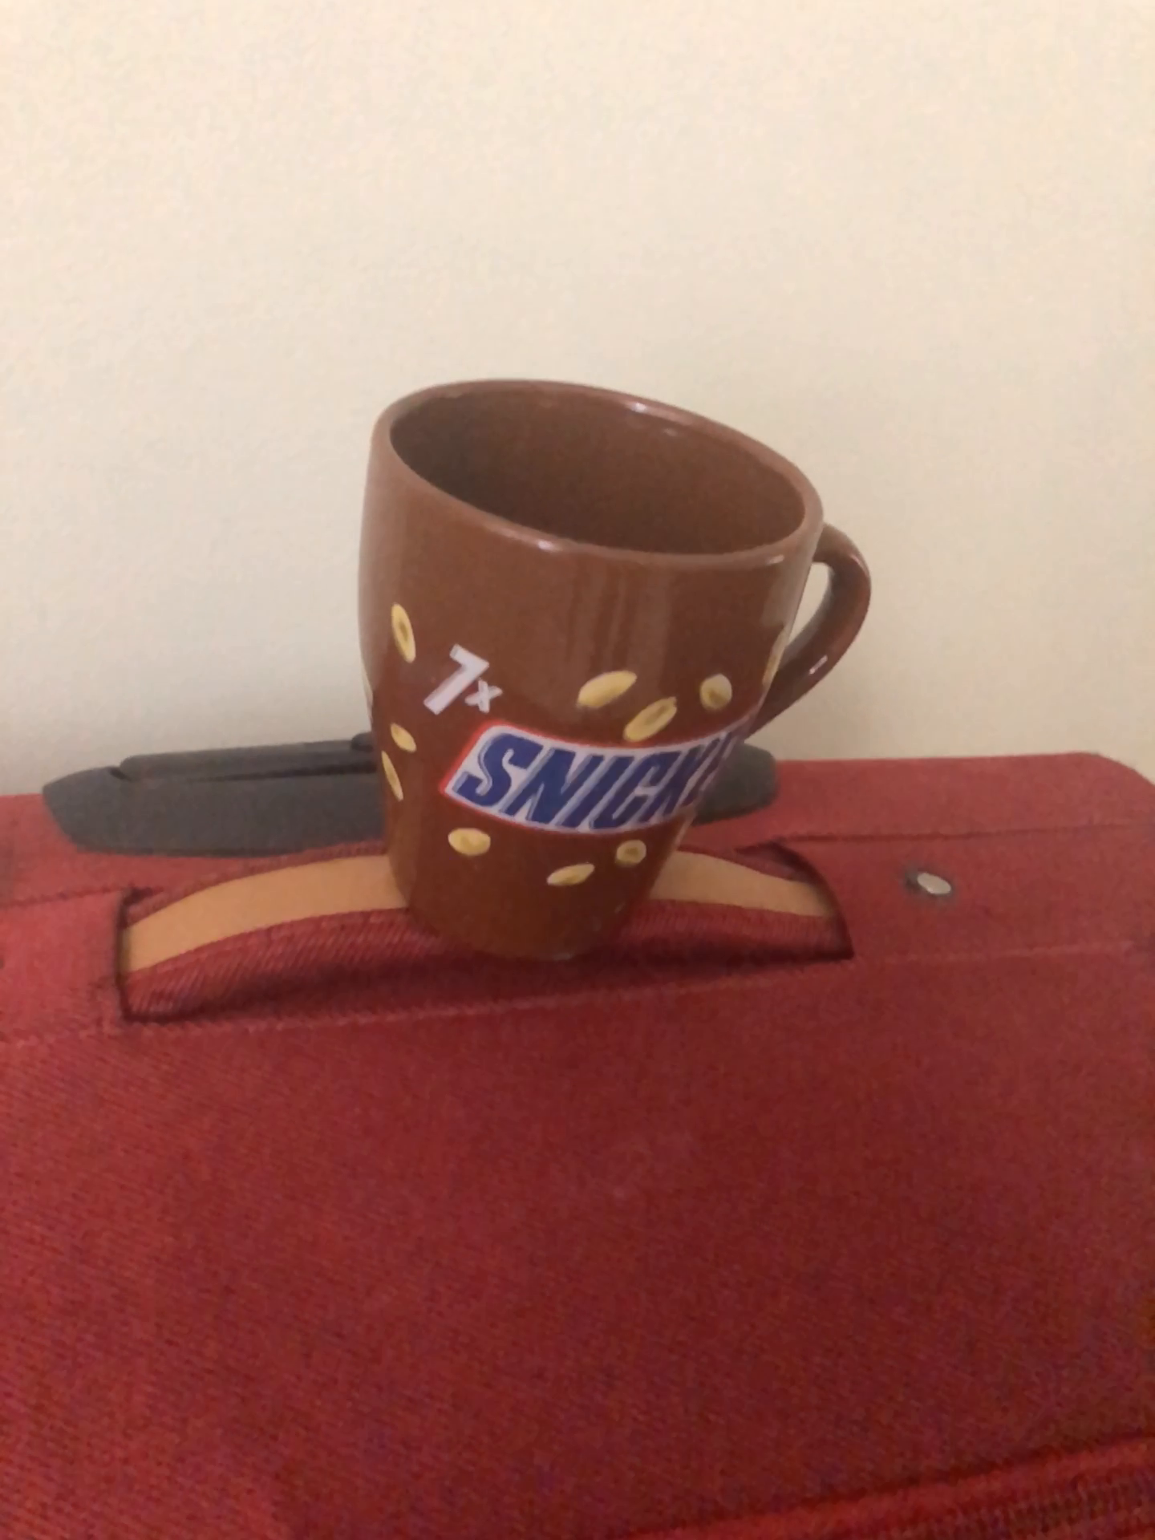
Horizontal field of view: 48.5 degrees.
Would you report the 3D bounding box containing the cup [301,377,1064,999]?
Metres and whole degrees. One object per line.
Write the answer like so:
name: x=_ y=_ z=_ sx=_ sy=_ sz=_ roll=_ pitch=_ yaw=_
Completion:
cup: x=0.010 y=-0.023 z=0.255 sx=0.115 sy=0.080 sz=0.088 roll=-6 pitch=37 yaw=-20
